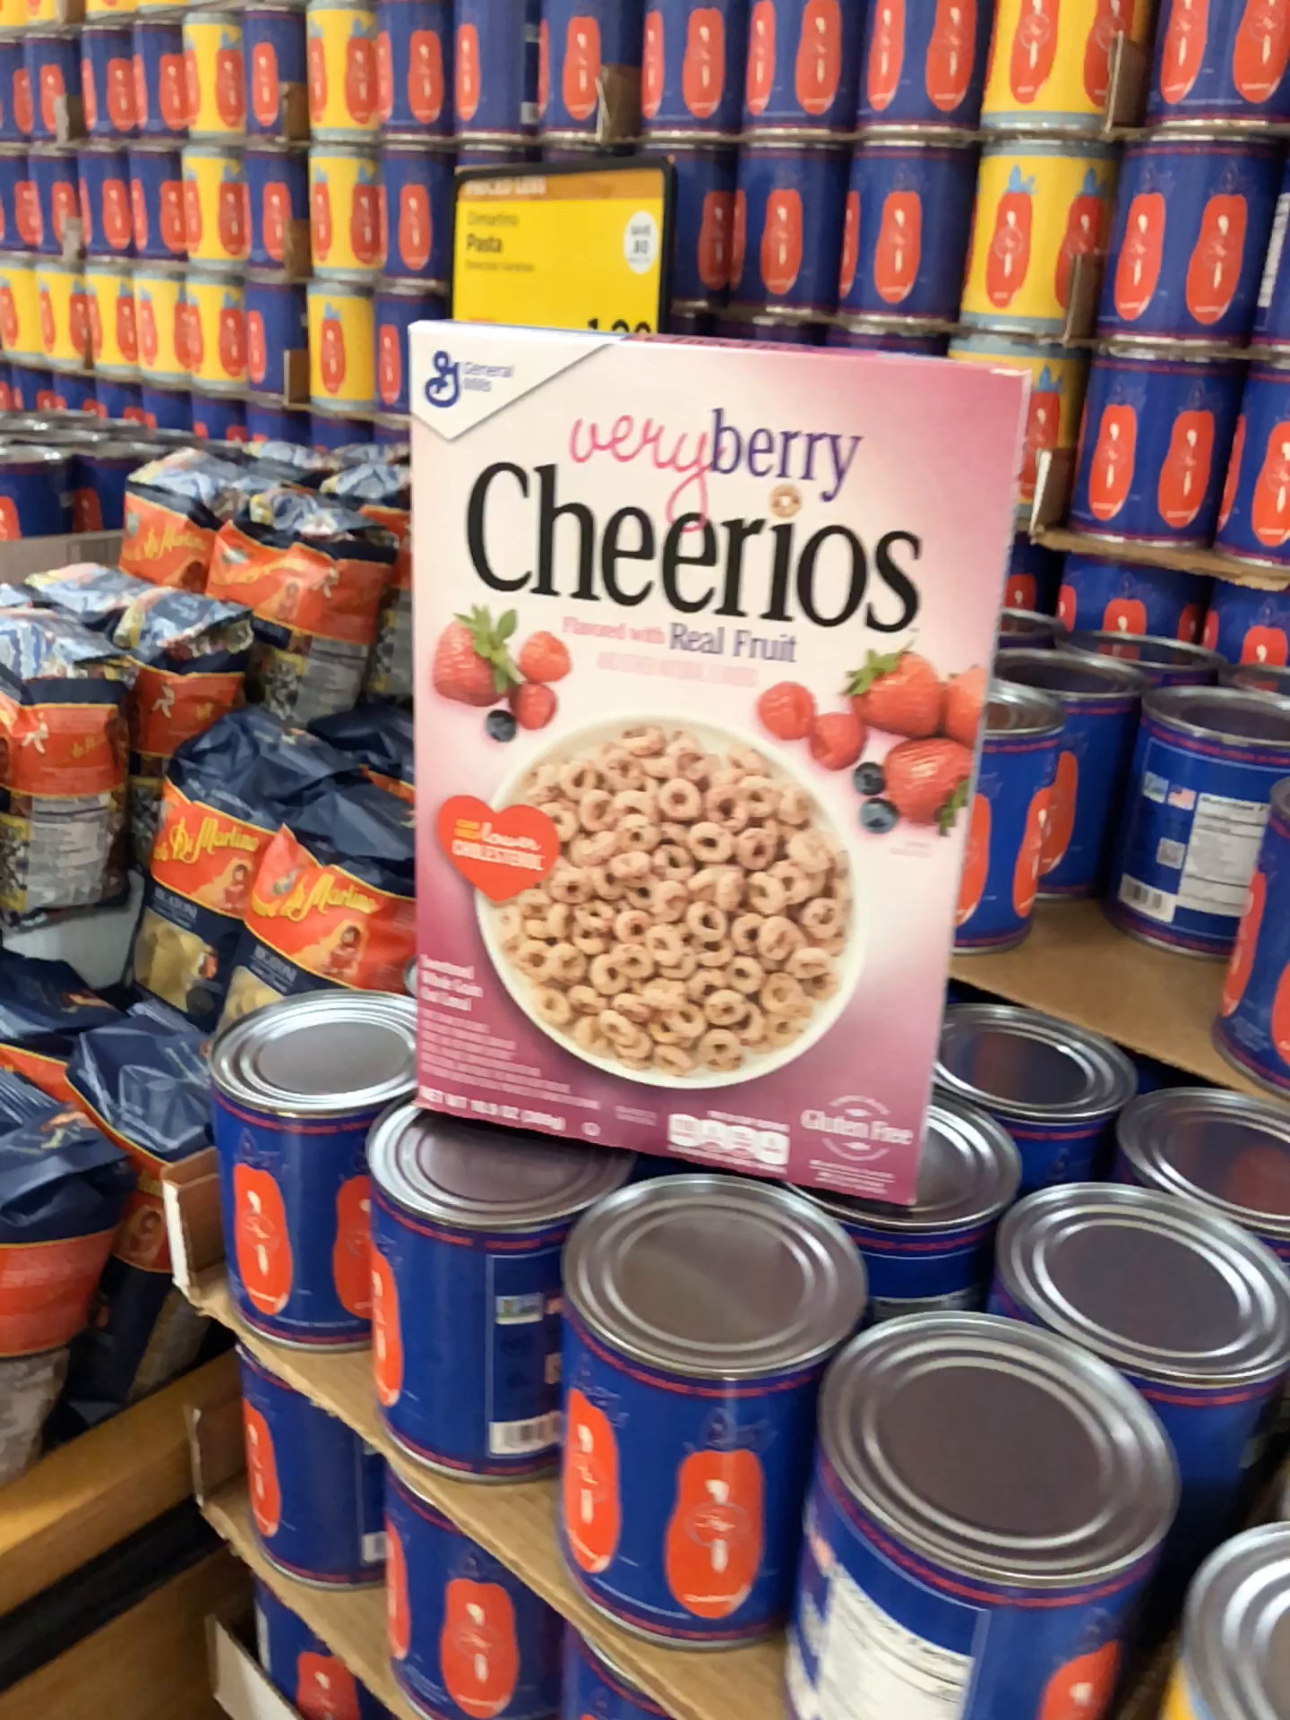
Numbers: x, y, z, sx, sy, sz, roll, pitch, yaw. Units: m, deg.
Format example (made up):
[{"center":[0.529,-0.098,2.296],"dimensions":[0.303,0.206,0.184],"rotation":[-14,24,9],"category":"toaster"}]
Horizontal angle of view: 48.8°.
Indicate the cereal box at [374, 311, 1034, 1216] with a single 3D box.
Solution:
[{"center":[0.012,-0.033,0.501],"dimensions":[0.200,0.288,0.060],"rotation":[8,22,13],"category":"cereal box"}]
